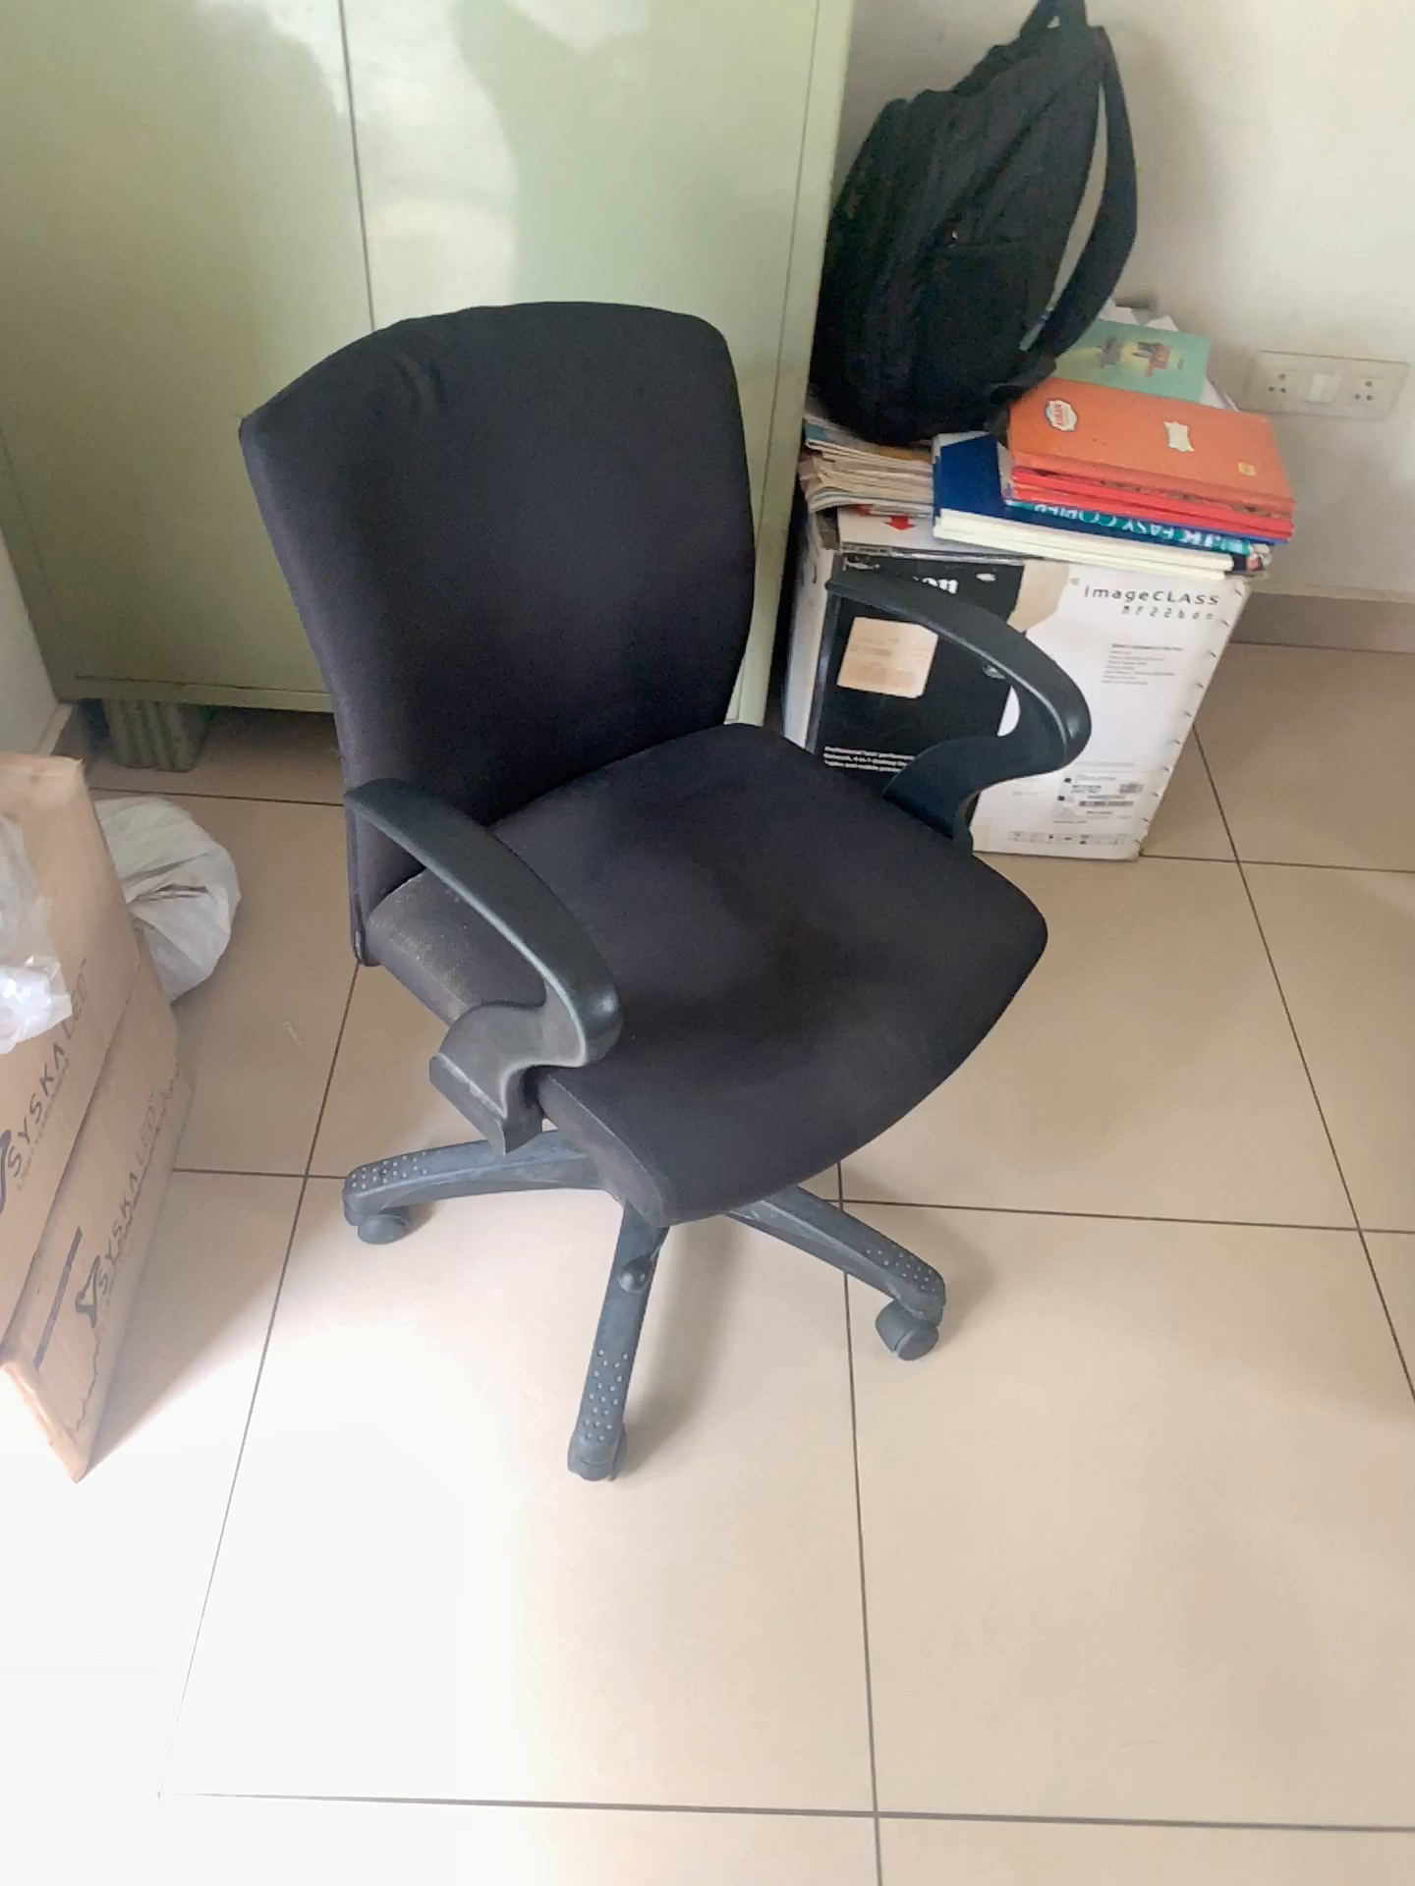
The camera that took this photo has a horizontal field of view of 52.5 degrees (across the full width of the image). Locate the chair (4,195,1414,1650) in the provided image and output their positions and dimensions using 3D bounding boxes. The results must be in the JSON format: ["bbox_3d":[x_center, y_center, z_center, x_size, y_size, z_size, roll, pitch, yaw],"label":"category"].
[{"bbox_3d":[-0.017,-0.016,1.337,0.701,0.927,0.701,-34,59,-31],"label":"chair"}]
